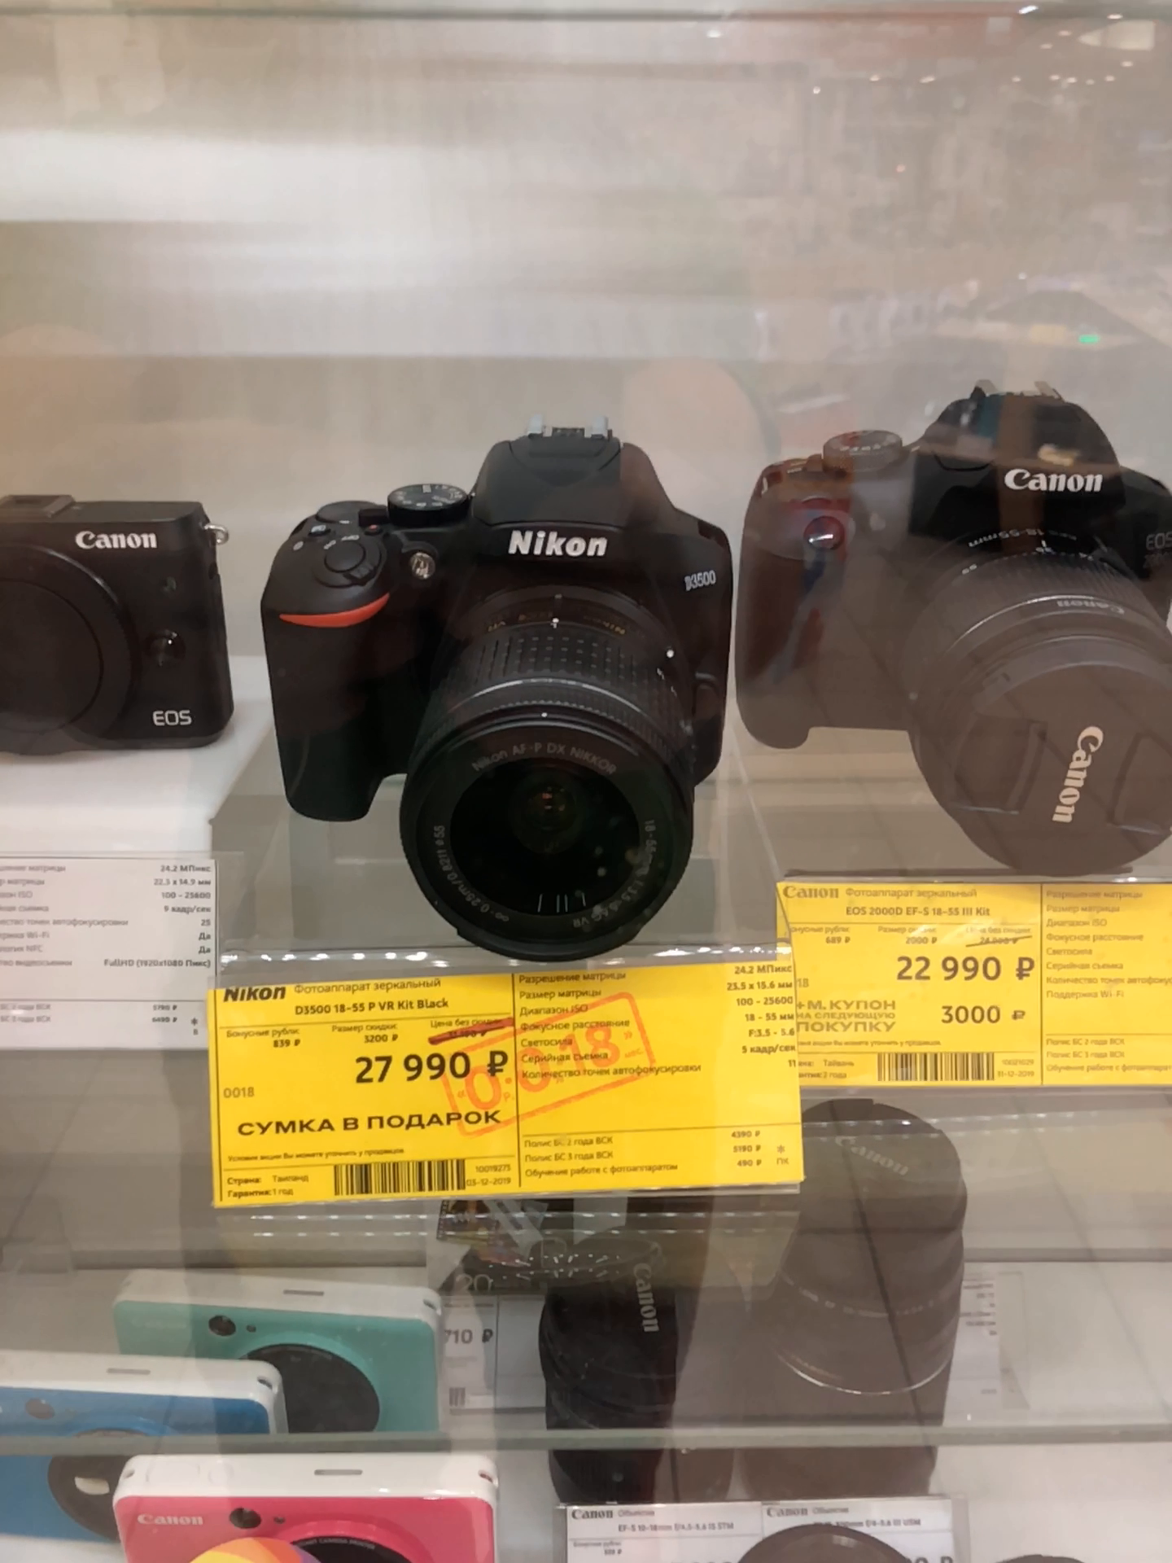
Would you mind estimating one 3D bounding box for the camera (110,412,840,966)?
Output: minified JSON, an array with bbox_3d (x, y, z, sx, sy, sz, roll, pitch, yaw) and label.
[{"bbox_3d":[-0.020,-0.029,0.305,0.130,0.092,0.121,0,25,0],"label":"camera"}]
